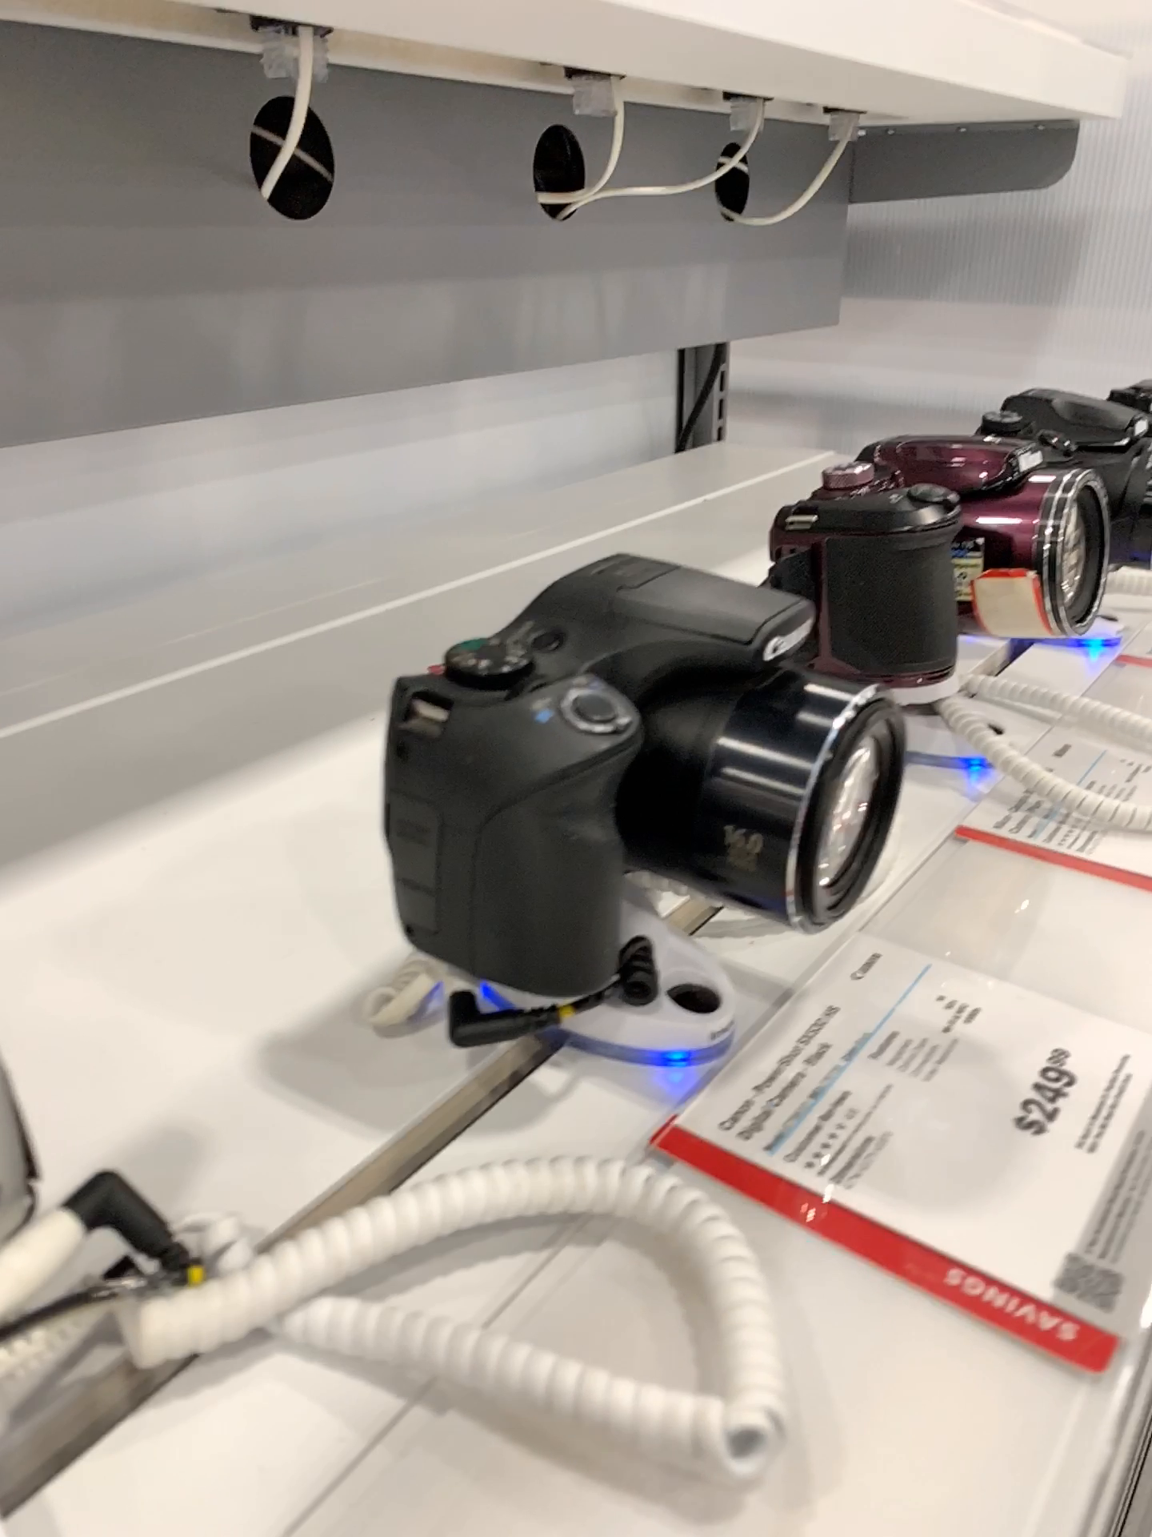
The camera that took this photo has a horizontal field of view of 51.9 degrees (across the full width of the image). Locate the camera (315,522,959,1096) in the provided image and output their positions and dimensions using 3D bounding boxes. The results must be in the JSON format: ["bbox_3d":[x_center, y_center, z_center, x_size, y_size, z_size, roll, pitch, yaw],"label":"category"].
[{"bbox_3d":[0.019,-0.003,0.293,0.100,0.080,0.120,17,30,33],"label":"camera"}]
